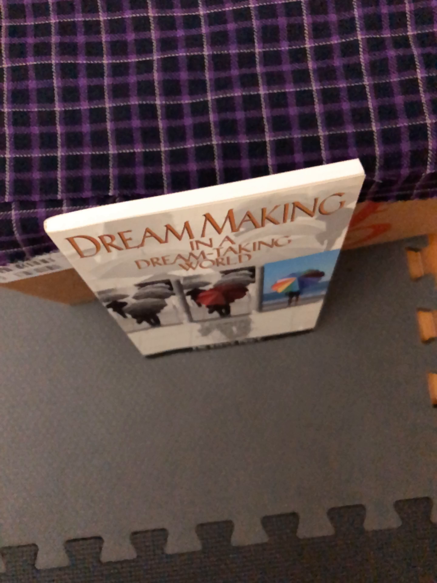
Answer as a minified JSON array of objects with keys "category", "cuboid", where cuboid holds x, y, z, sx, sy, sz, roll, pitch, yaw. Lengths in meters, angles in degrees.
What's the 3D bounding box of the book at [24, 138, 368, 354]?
[{"category":"book","cuboid":[-0.002,-0.007,0.317,0.150,0.220,0.020,-7,67,2]}]
